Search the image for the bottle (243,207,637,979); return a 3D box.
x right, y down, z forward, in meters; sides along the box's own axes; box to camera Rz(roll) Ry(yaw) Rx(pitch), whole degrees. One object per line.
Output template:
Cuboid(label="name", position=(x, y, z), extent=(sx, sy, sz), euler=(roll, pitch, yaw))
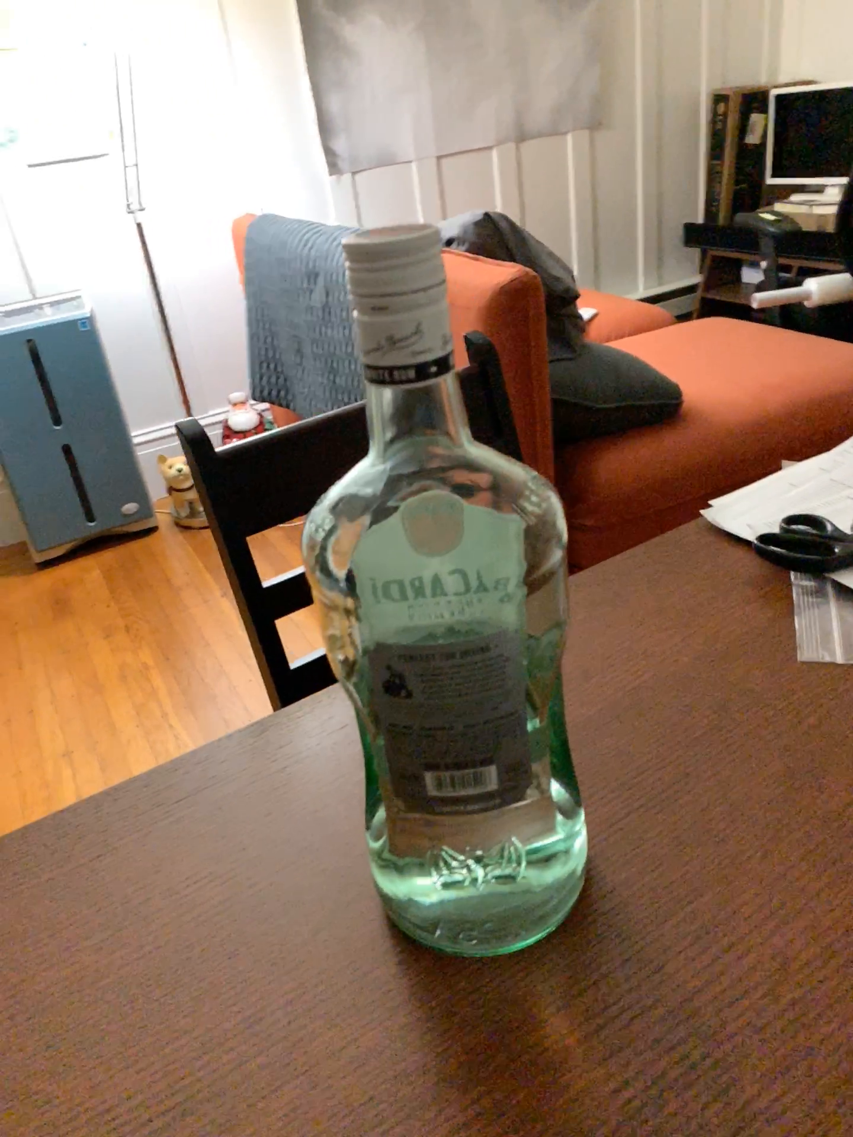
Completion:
Cuboid(label="bottle", position=(0.022, 0.024, 0.402), extent=(0.120, 0.328, 0.121), euler=(-6, 29, 3))
